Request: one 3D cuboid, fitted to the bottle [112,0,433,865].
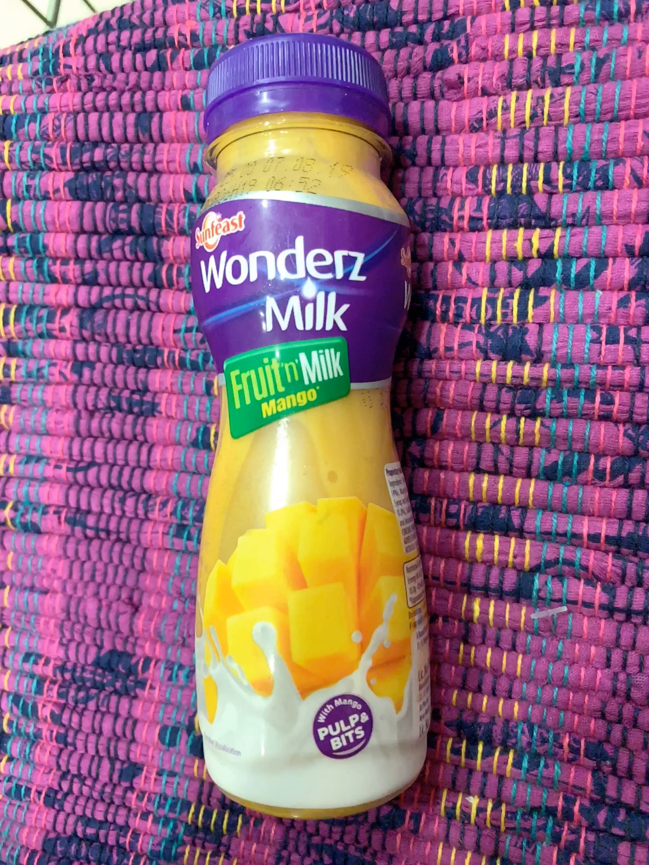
[{"bbox_3d":[-0.009,0.002,0.137,0.050,0.040,0.150,-2,87,17],"label":"bottle"}]
